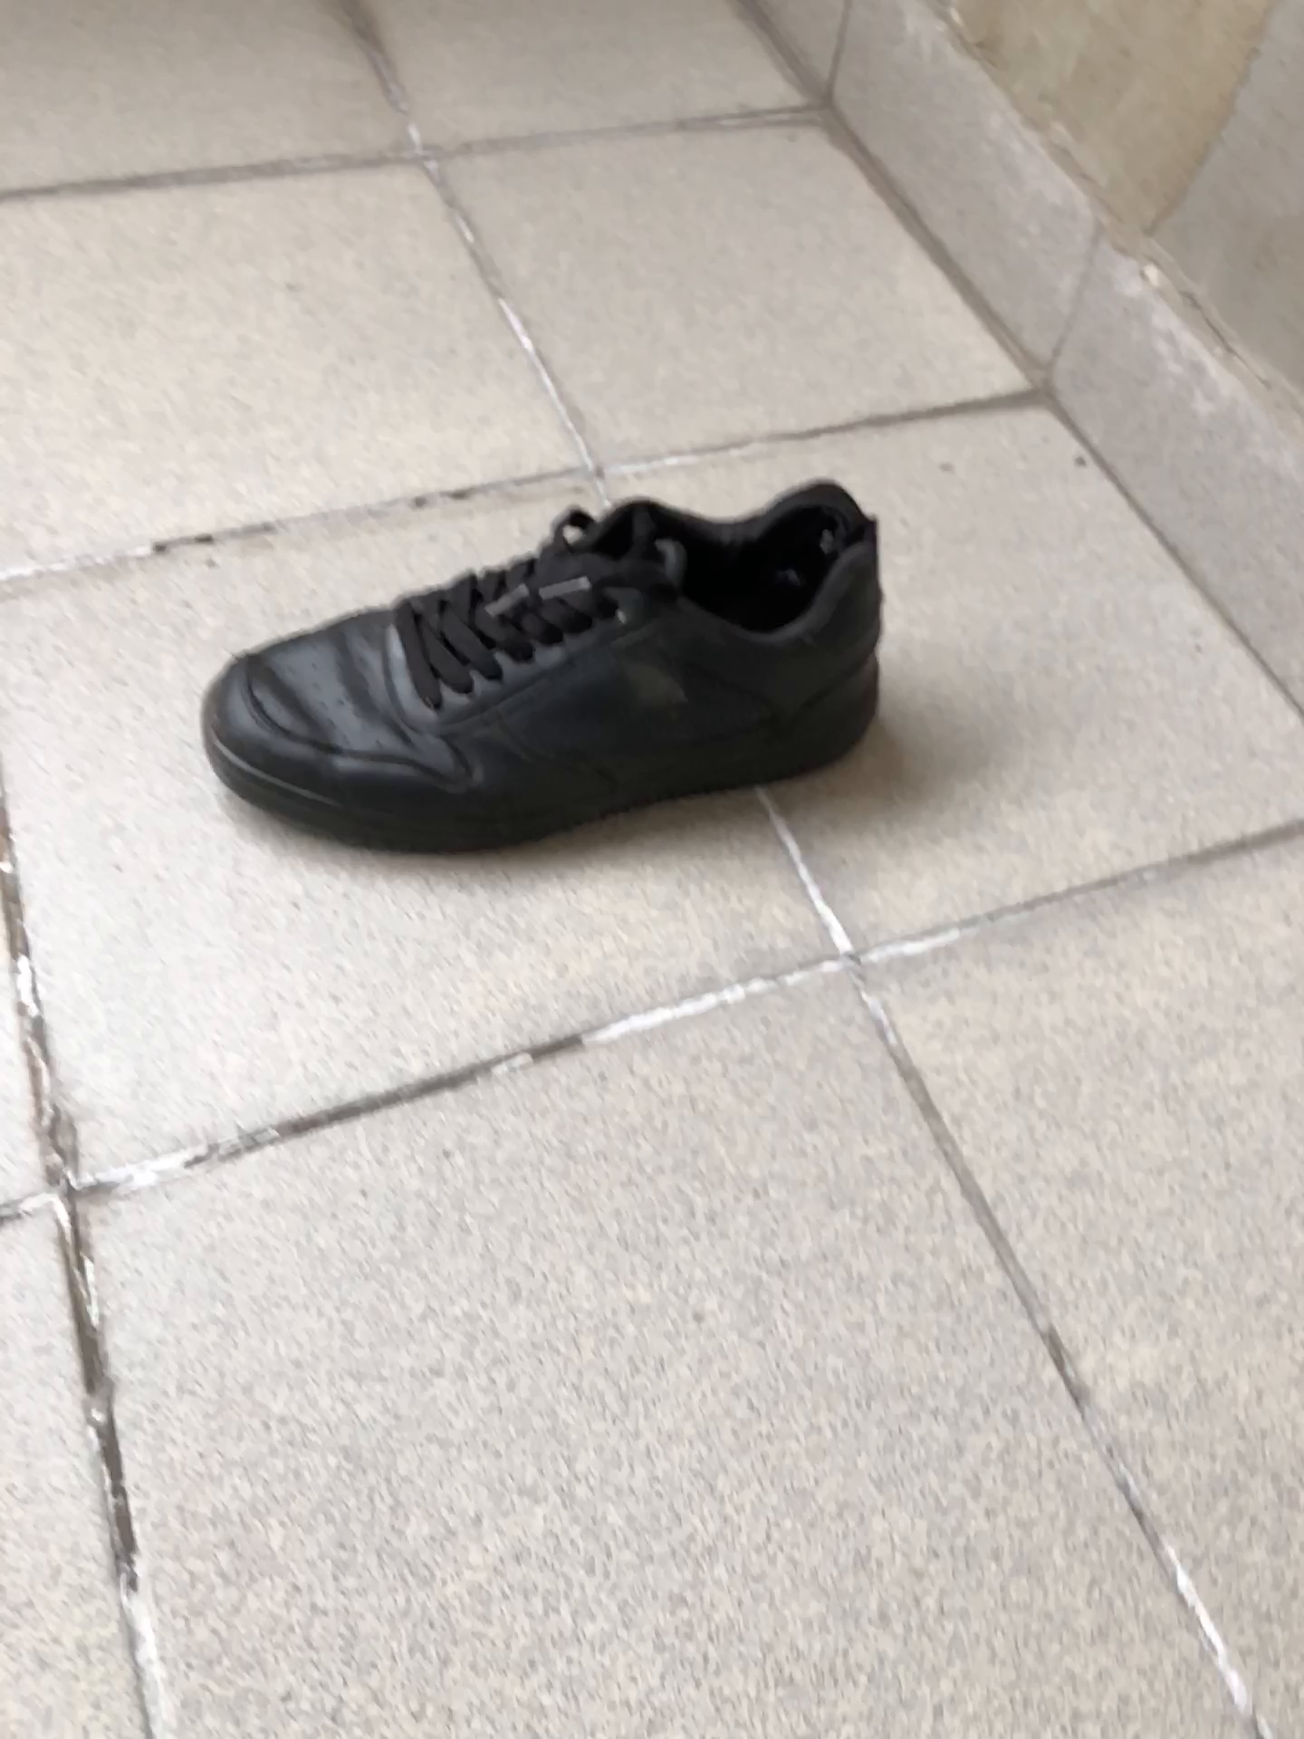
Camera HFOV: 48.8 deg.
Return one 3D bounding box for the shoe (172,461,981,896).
[{"bbox_3d":[-0.034,-0.080,0.583,0.290,0.099,0.111,-7,58,-12],"label":"shoe"}]
